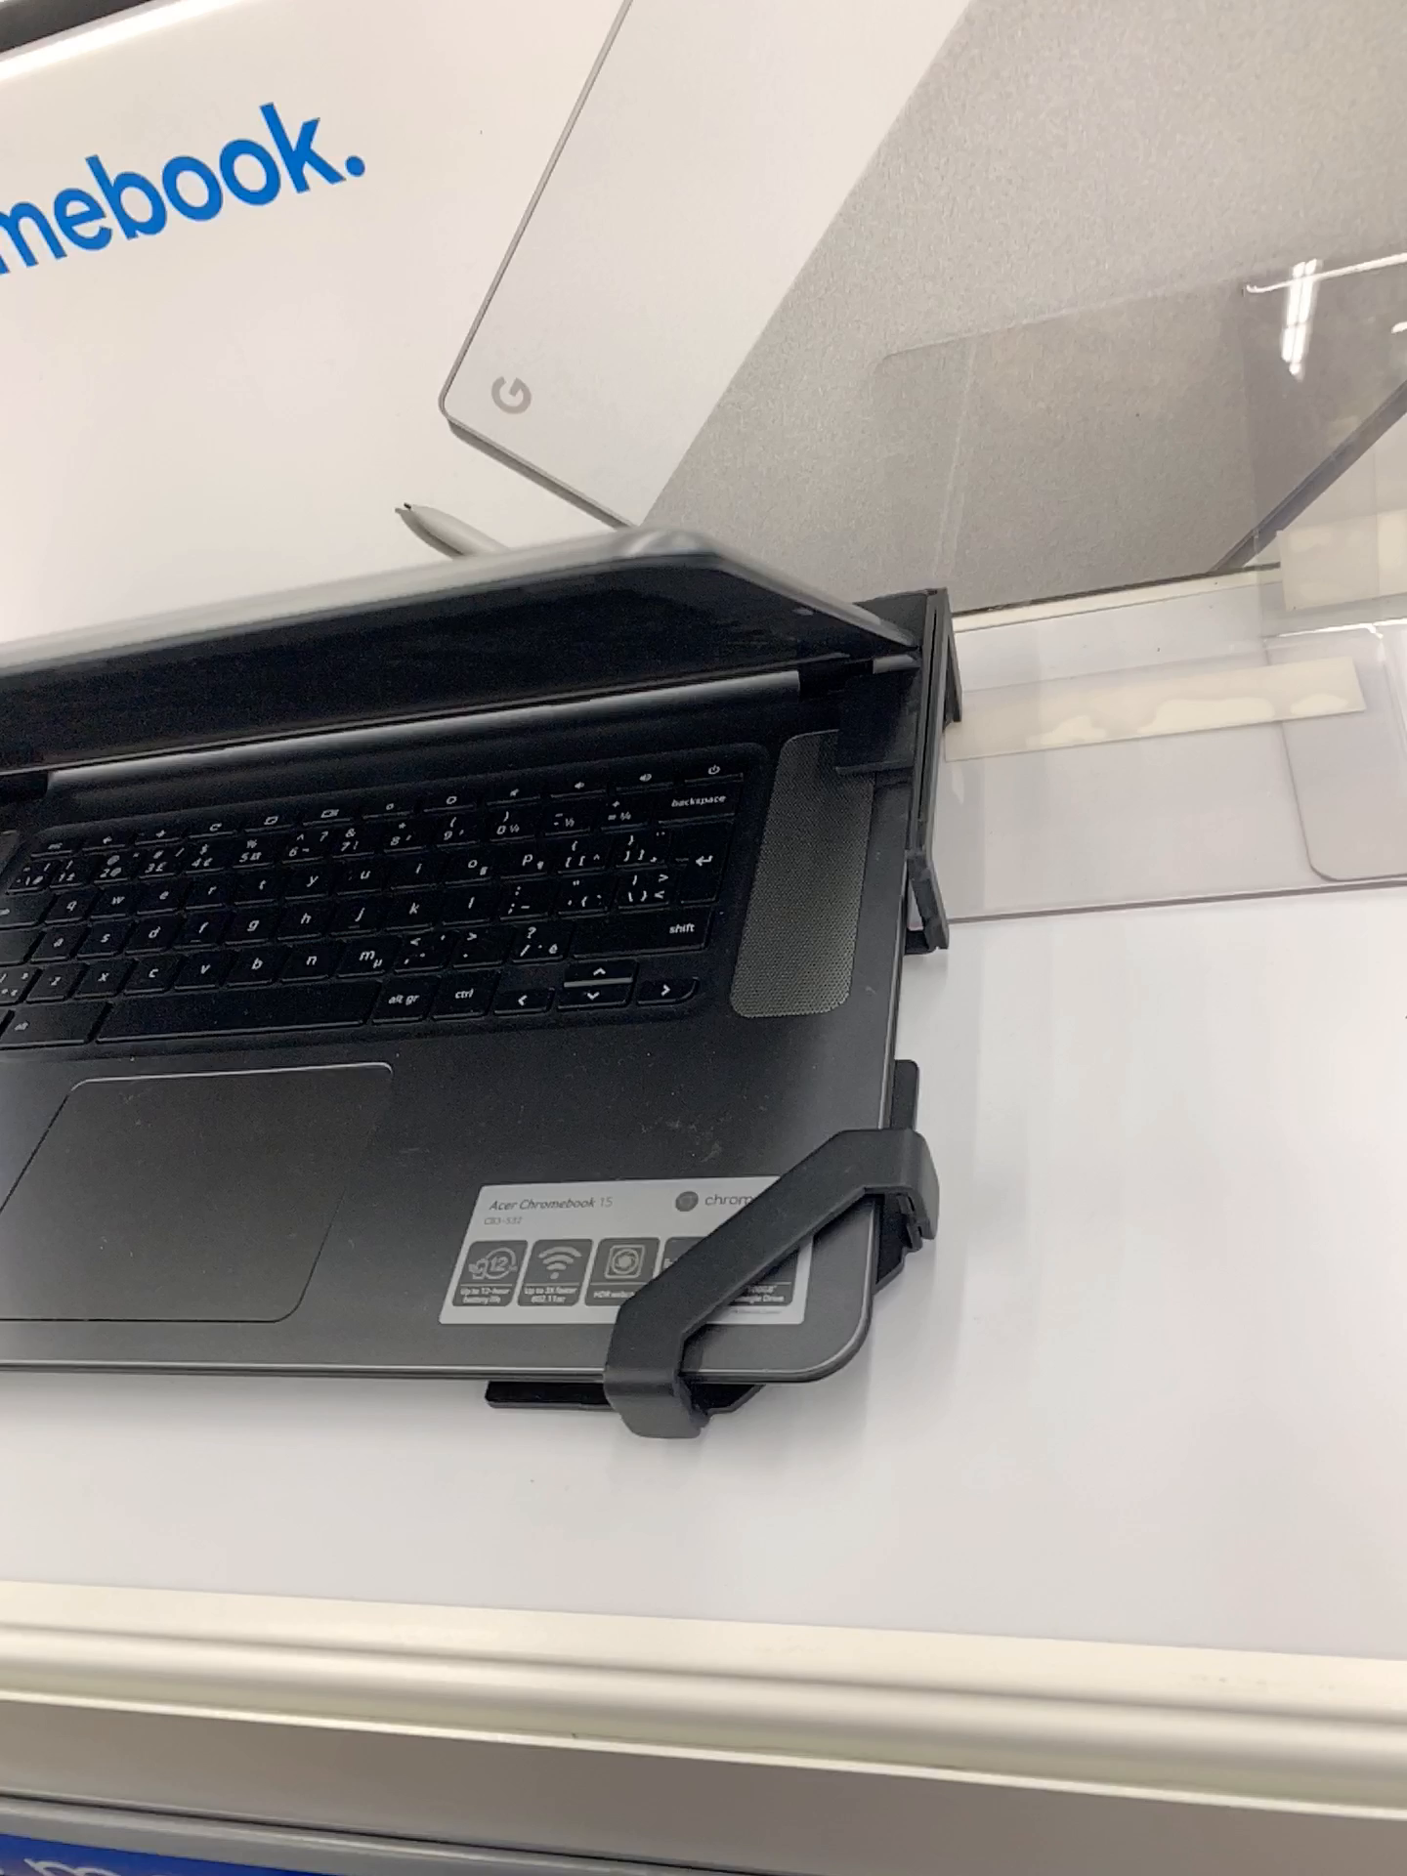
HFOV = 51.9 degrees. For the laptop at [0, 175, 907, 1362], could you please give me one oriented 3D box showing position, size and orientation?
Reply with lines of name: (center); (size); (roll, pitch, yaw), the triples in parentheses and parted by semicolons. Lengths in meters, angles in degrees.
laptop: (-0.121, -0.031, 0.312); (0.301, 0.116, 0.194); (-5, 45, 18)
